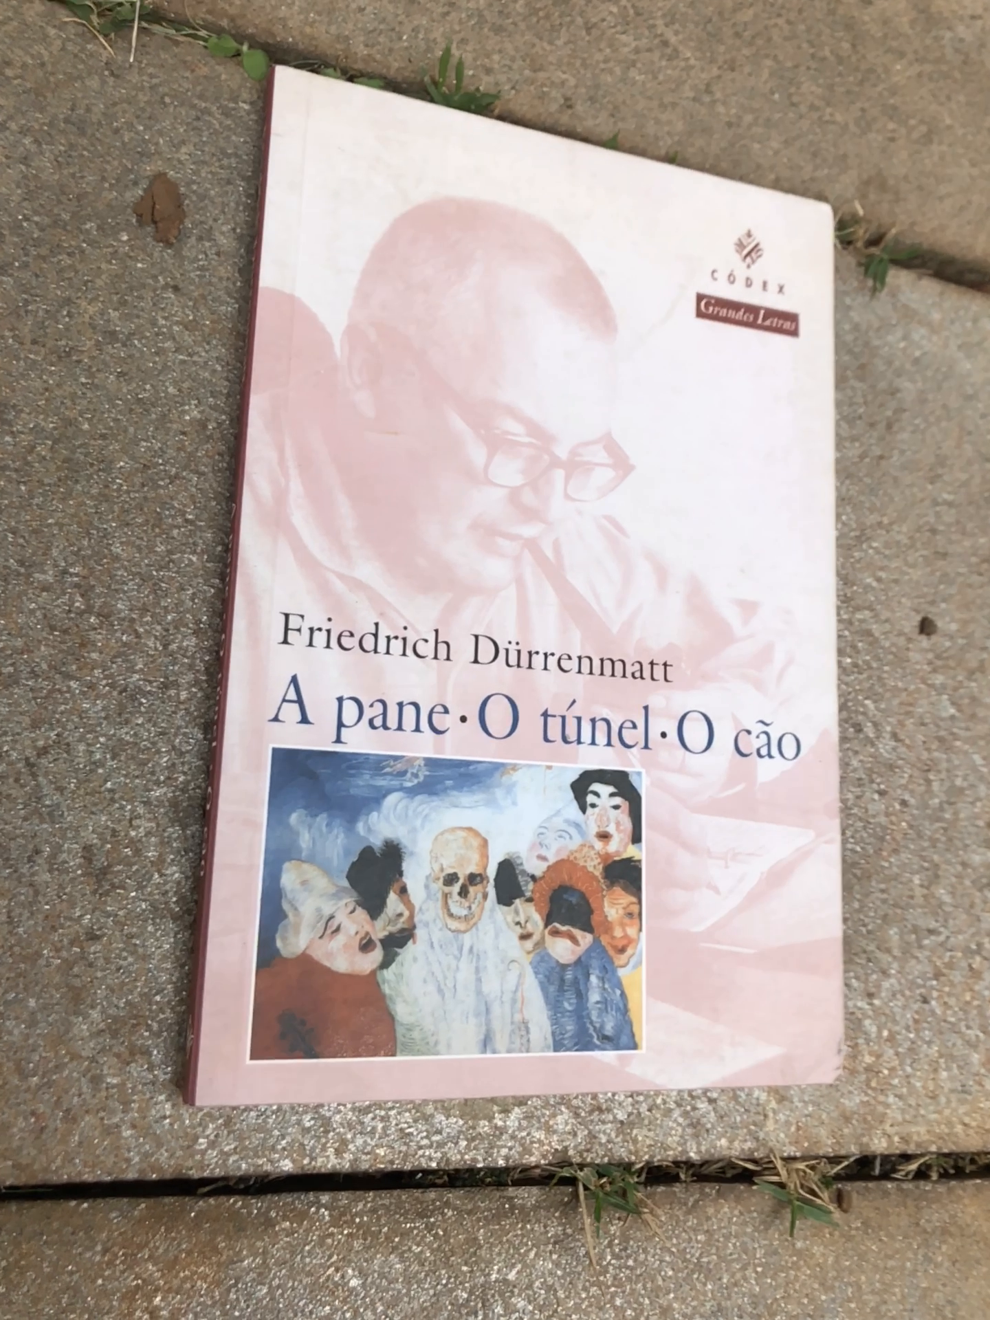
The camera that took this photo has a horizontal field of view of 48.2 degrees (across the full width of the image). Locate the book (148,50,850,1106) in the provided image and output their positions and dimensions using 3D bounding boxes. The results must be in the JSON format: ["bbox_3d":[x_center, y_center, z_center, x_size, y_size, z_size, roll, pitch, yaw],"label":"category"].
[{"bbox_3d":[0.010,-0.016,0.233,0.140,0.015,0.199,6,80,-19],"label":"book"}]
